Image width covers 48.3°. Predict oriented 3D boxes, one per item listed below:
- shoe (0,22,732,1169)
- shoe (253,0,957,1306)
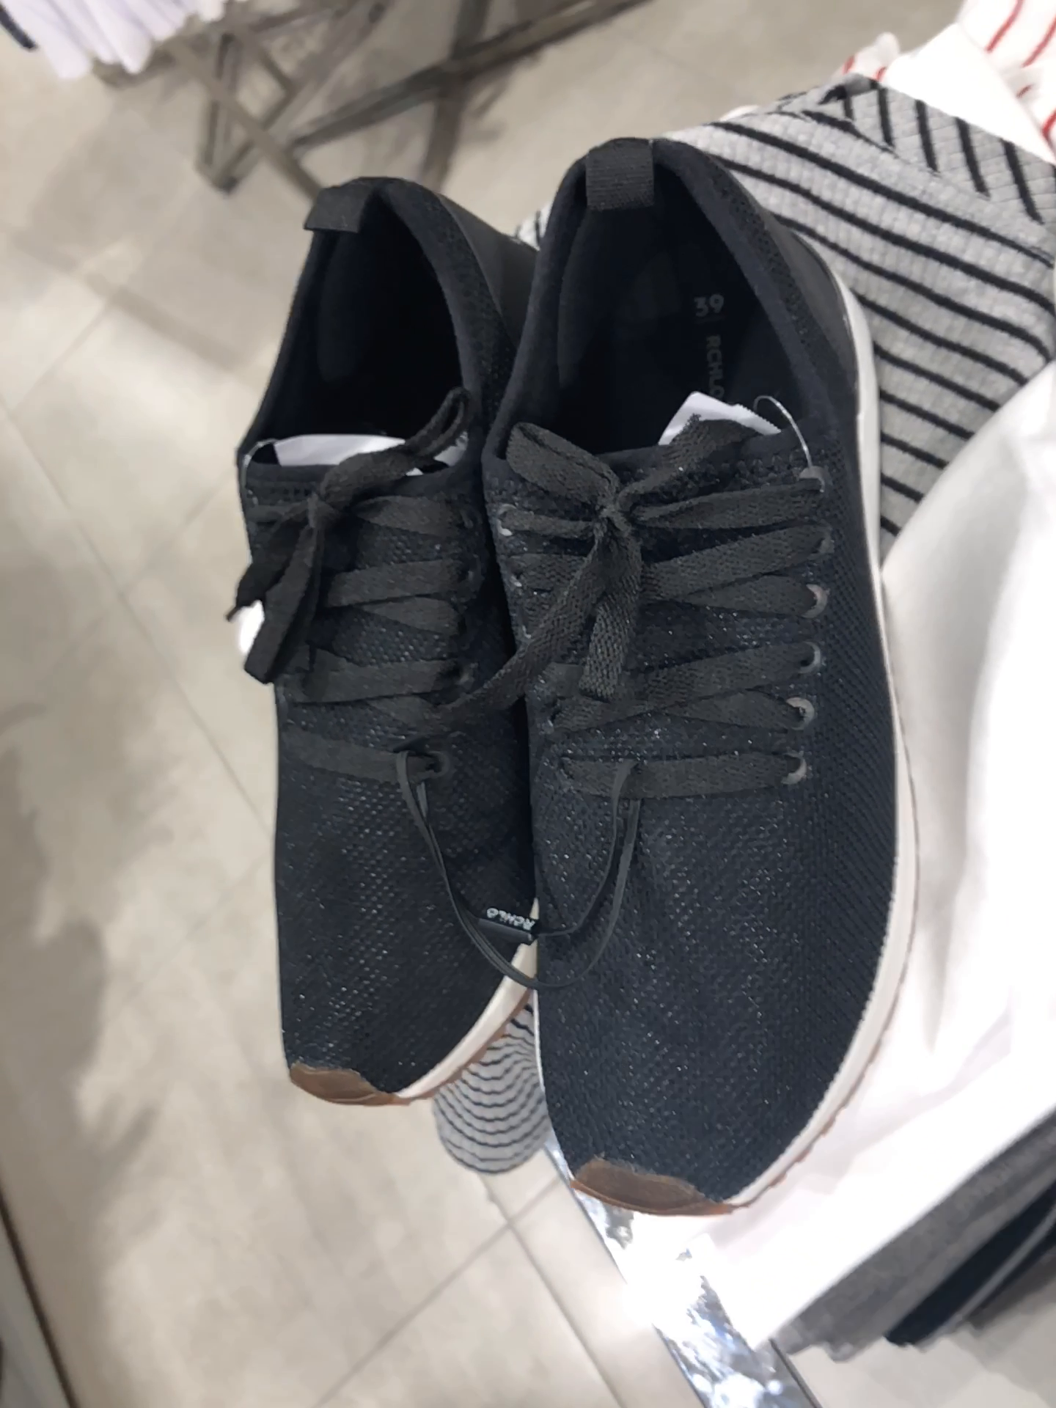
[{"bbox_3d":[-0.032,-0.024,0.330,0.100,0.120,0.260,5,78,31],"label":"shoe"},{"bbox_3d":[0.040,-0.013,0.294,0.100,0.120,0.270,-2,68,29],"label":"shoe"}]
